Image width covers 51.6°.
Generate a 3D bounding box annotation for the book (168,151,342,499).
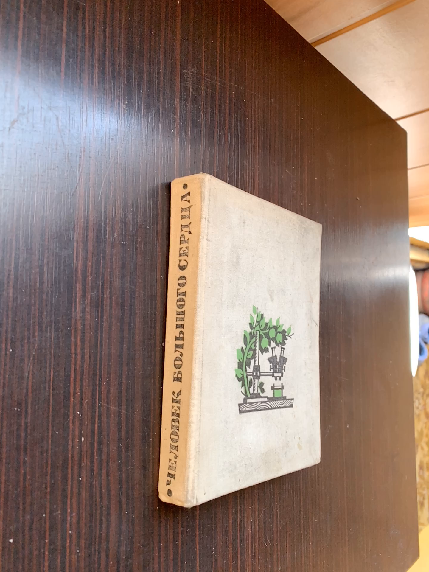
[{"bbox_3d":[0.034,0.023,0.275,0.136,0.027,0.169,8,80,-47],"label":"book"}]
